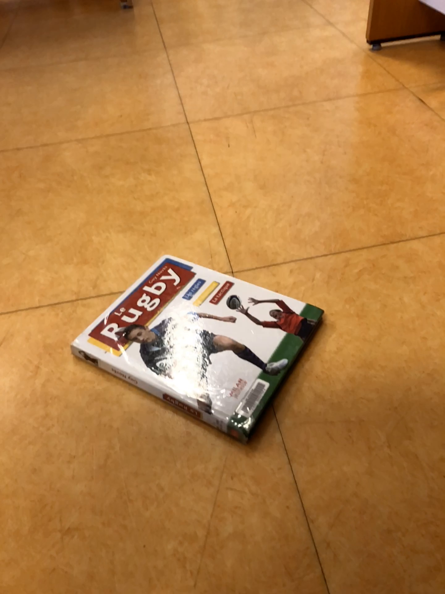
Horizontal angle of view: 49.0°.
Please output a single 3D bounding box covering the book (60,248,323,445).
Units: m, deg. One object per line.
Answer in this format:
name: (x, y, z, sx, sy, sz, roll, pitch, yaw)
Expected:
book: (-0.037, 0.041, 0.616, 0.260, 0.024, 0.204, 20, 50, 25)
